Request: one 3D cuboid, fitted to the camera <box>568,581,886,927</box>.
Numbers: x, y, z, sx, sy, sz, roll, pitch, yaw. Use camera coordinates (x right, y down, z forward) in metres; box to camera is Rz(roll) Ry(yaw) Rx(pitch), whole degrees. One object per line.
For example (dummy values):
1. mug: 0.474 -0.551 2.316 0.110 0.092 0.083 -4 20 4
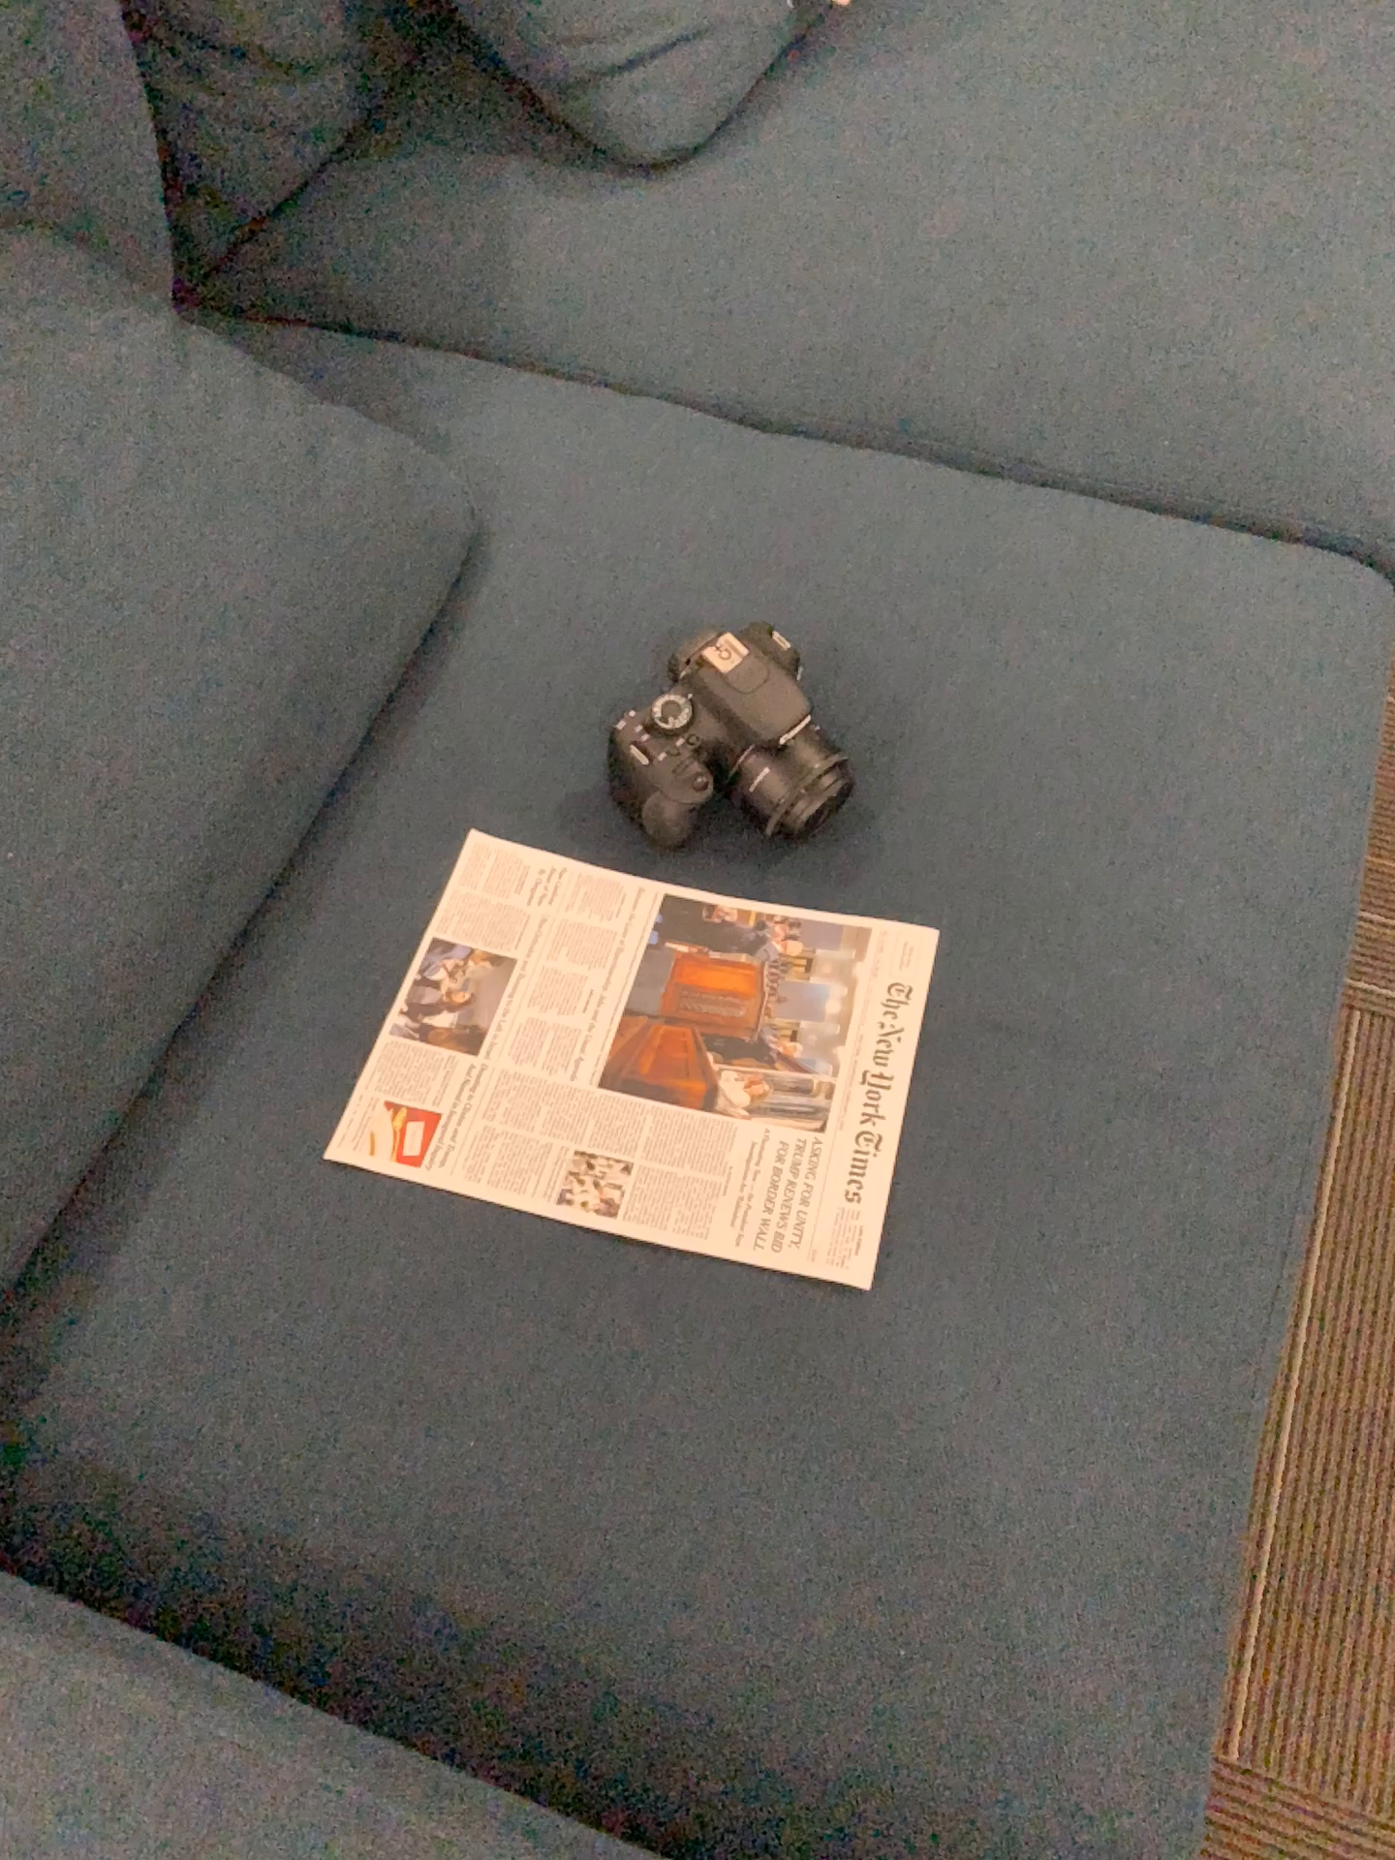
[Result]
1. camera: 0.012 -0.094 0.781 0.120 0.100 0.108 -42 80 -19
